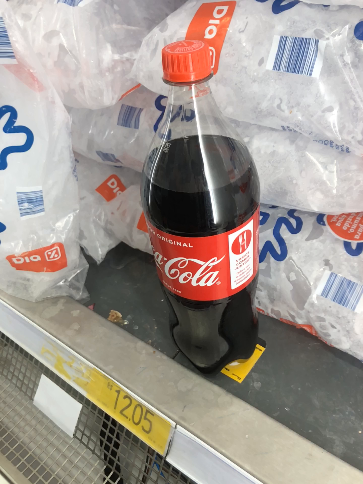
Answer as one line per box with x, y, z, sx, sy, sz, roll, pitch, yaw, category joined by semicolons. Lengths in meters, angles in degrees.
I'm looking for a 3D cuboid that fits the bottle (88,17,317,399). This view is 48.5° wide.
0.024;-0.004;0.321;0.080;0.288;0.100;-37;50;-28;bottle
